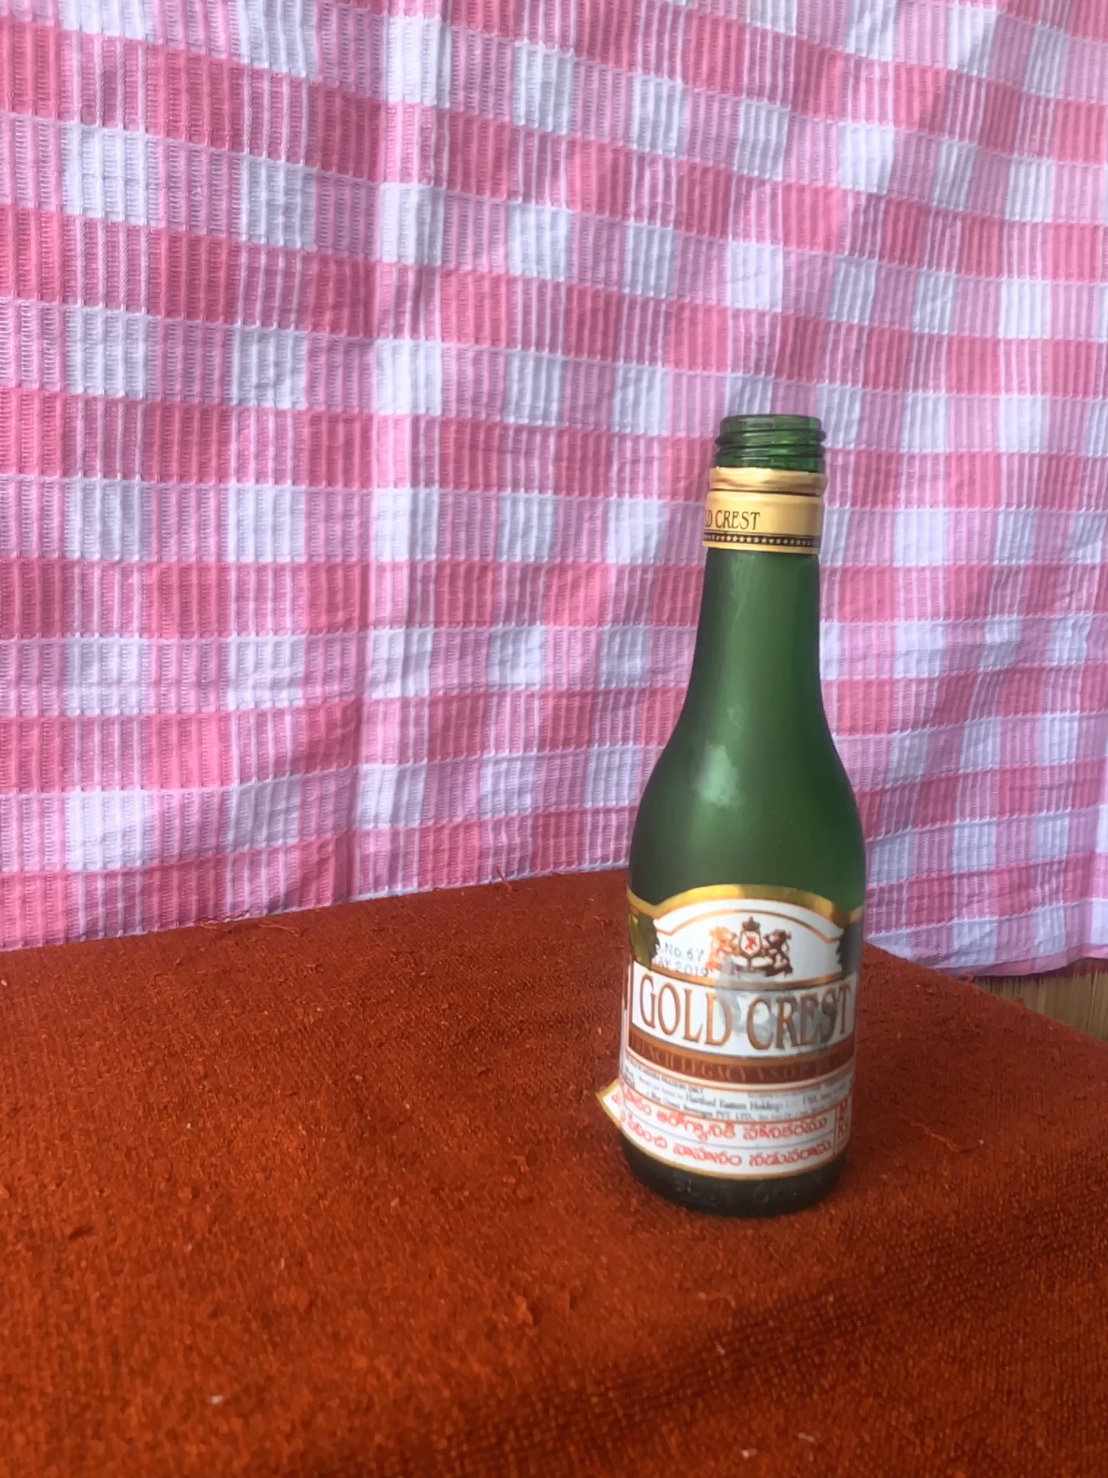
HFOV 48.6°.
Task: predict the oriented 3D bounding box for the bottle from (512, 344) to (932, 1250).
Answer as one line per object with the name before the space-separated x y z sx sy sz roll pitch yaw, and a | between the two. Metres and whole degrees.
bottle | 0.034 0.010 0.262 0.060 0.170 0.060 5 11 -1
